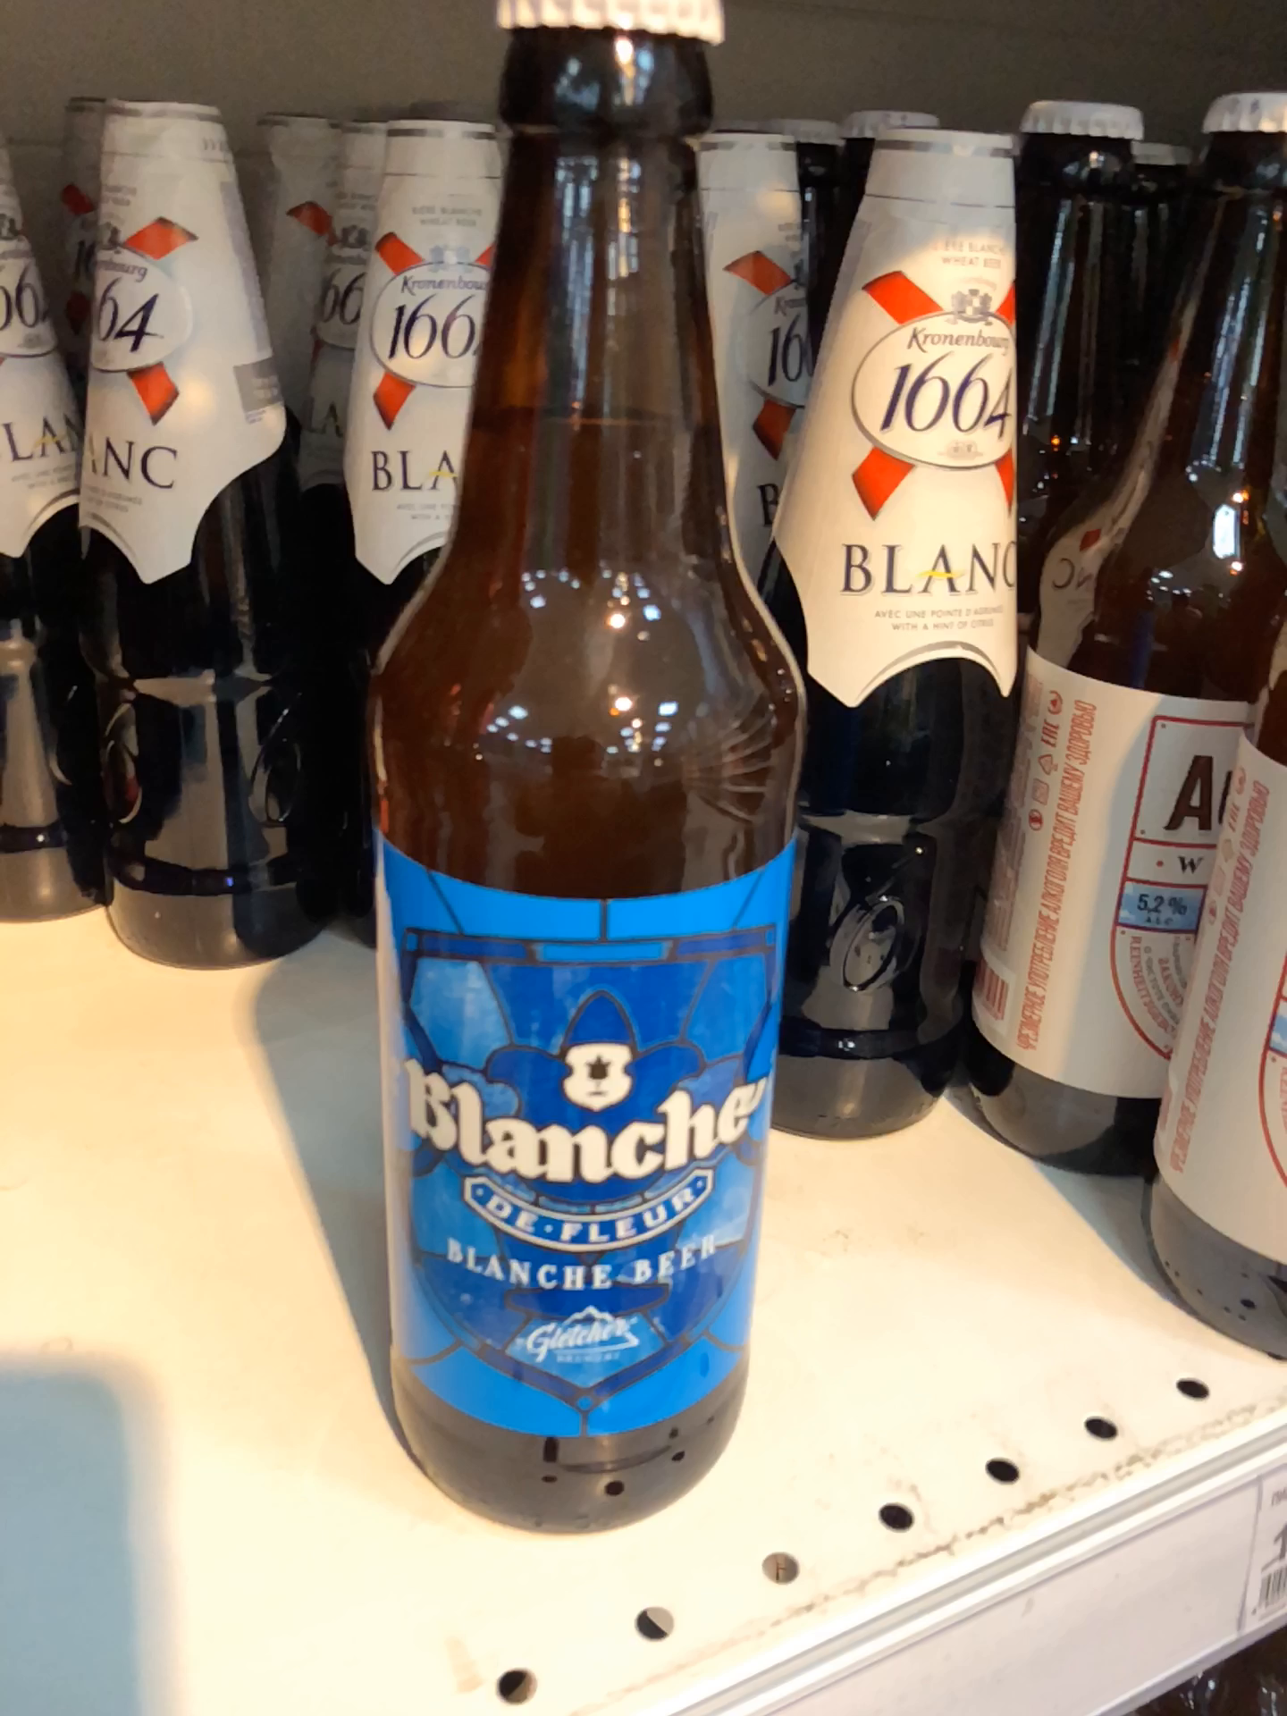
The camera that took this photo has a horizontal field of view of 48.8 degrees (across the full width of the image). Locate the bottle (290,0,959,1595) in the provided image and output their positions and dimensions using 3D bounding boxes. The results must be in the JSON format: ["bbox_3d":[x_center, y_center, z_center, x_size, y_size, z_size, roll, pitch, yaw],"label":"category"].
[{"bbox_3d":[-0.013,-0.004,0.228,0.070,0.244,0.070,2,24,-1],"label":"bottle"}]
